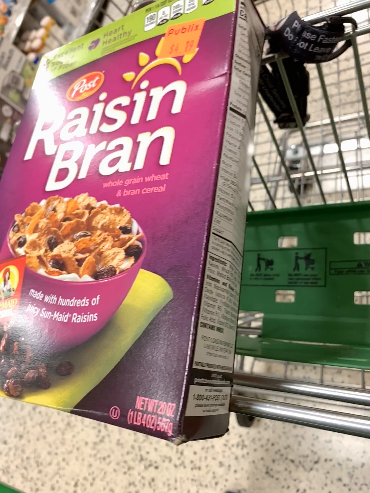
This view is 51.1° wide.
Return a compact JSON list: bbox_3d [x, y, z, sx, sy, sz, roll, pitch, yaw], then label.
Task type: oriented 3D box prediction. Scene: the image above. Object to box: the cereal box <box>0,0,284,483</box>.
[{"bbox_3d":[-0.055,-0.033,0.263,0.211,0.060,0.281,-3,69,32],"label":"cereal box"}]
